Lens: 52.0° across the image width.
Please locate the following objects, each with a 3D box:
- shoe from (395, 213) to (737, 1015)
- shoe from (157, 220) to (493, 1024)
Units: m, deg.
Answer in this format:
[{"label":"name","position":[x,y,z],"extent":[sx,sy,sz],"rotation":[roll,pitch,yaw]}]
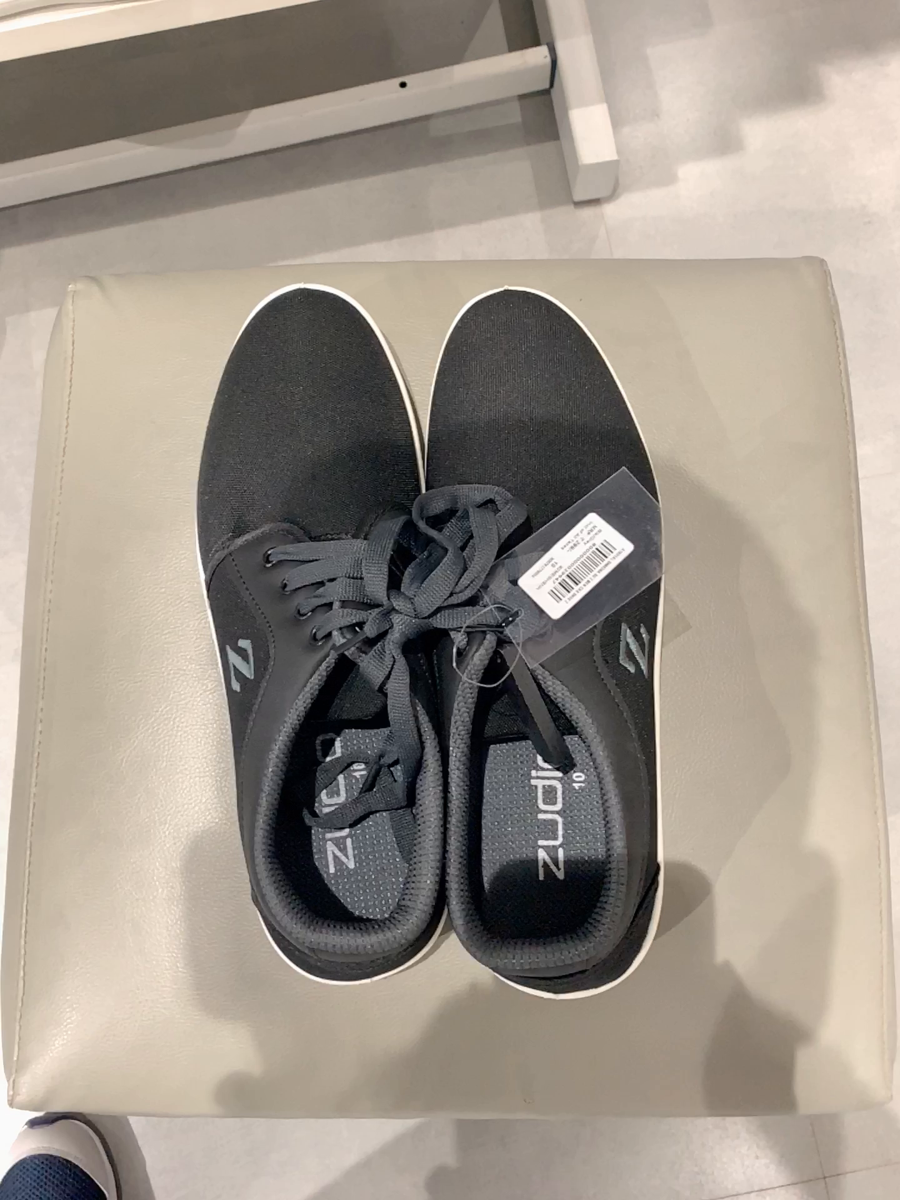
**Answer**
[{"label":"shoe","position":[0.041,0.005,0.374],"extent":[0.100,0.100,0.280],"rotation":[-4,80,6]},{"label":"shoe","position":[-0.046,0.006,0.363],"extent":[0.100,0.100,0.270],"rotation":[-5,80,0]}]
